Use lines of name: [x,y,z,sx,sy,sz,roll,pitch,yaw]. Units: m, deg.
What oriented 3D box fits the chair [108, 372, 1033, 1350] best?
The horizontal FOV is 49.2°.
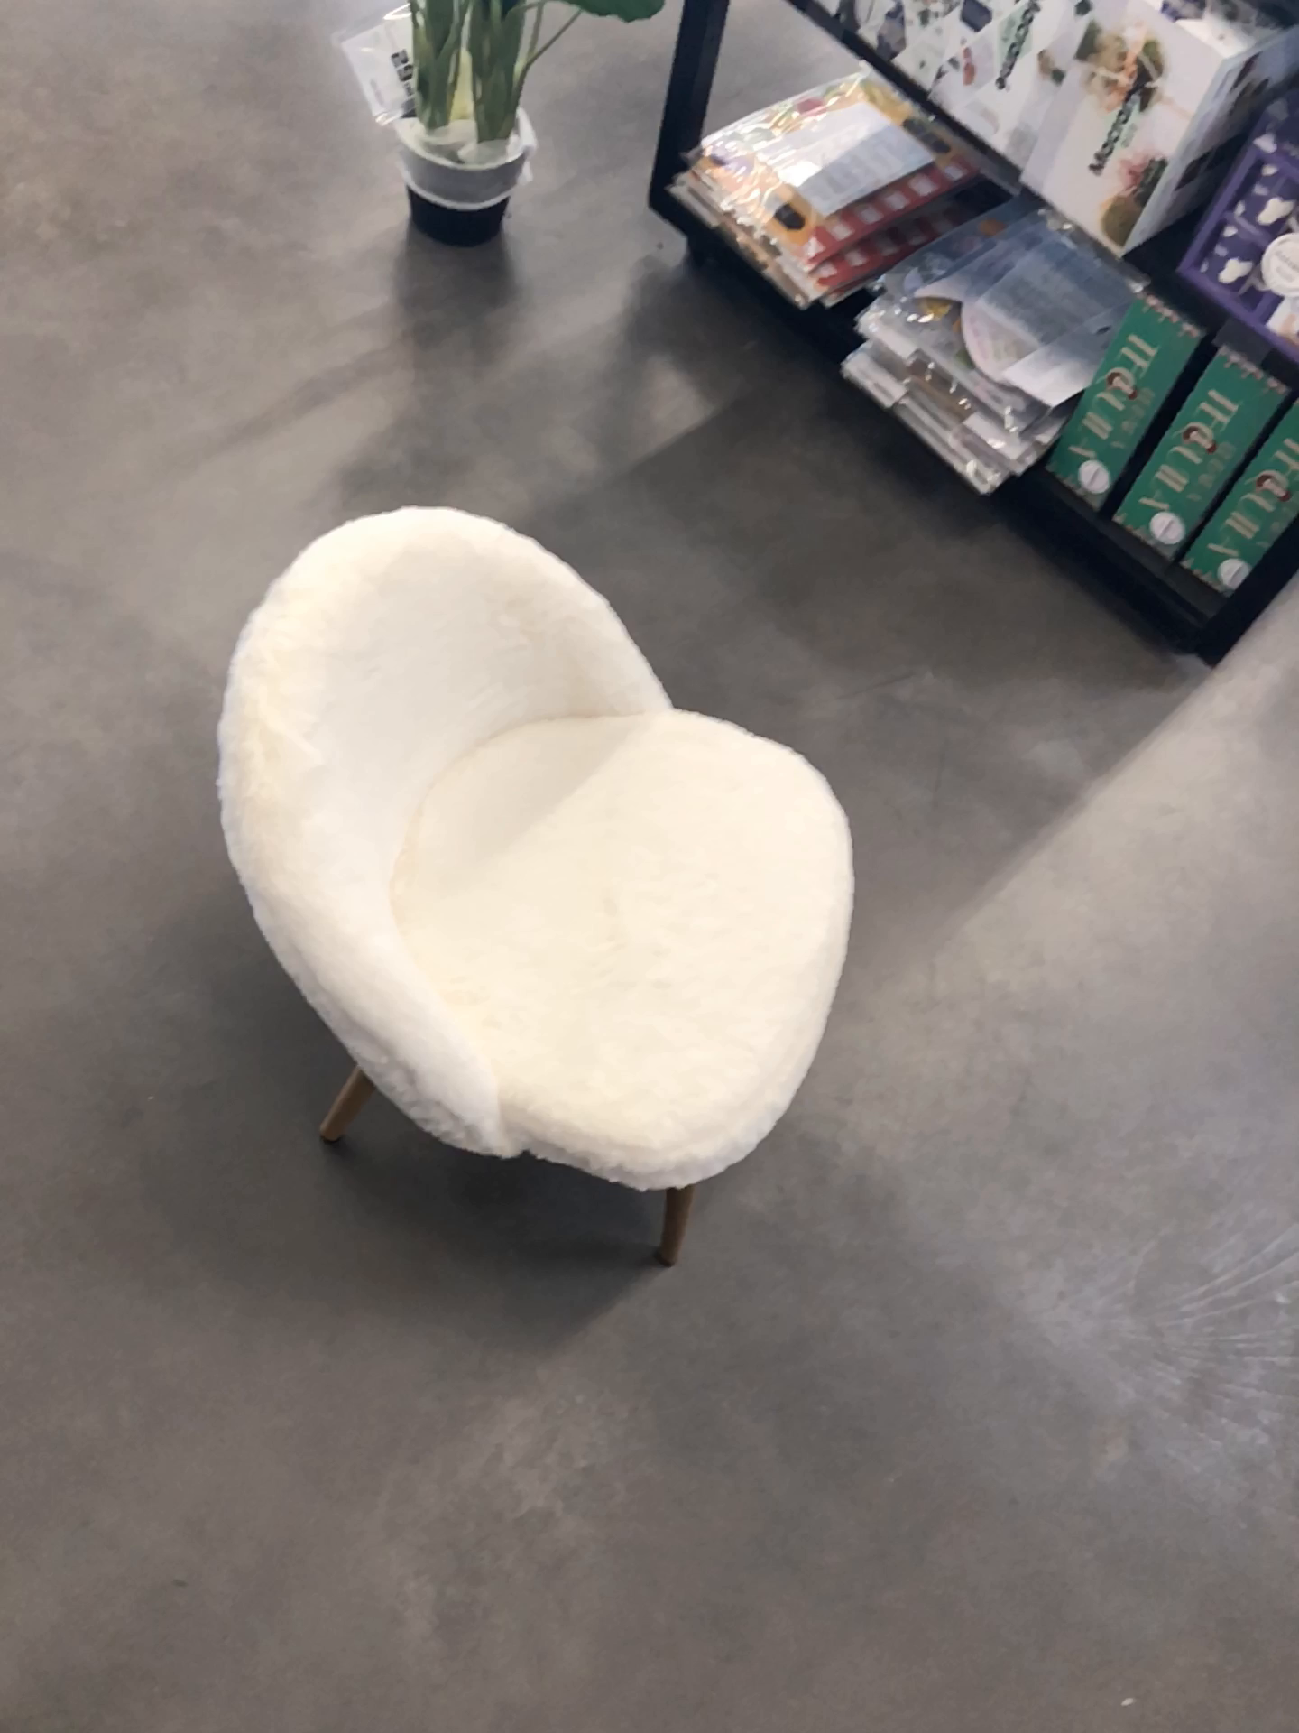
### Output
chair: [-0.067,0.030,1.135,0.470,0.538,0.412,24,57,3]
